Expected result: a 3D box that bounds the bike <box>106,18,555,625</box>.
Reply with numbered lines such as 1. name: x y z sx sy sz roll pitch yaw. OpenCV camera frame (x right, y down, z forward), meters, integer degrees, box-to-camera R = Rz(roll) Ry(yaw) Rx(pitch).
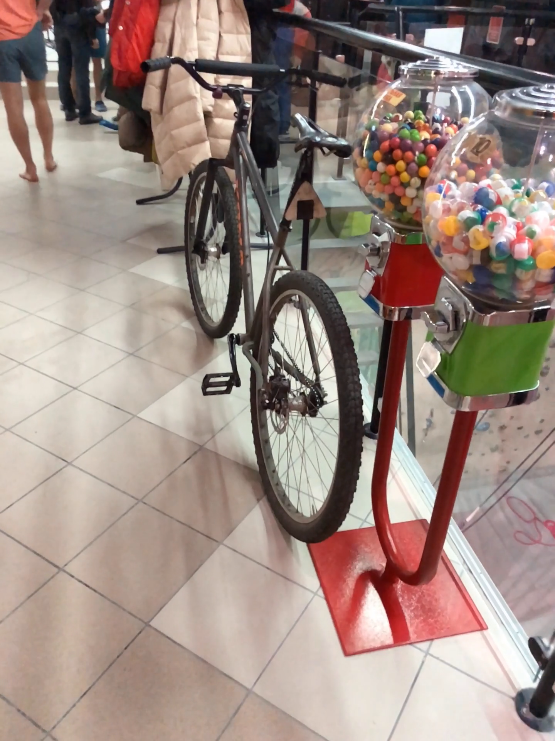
1. bike: -0.045 -0.414 1.991 0.748 1.099 1.832 -8 35 -16
